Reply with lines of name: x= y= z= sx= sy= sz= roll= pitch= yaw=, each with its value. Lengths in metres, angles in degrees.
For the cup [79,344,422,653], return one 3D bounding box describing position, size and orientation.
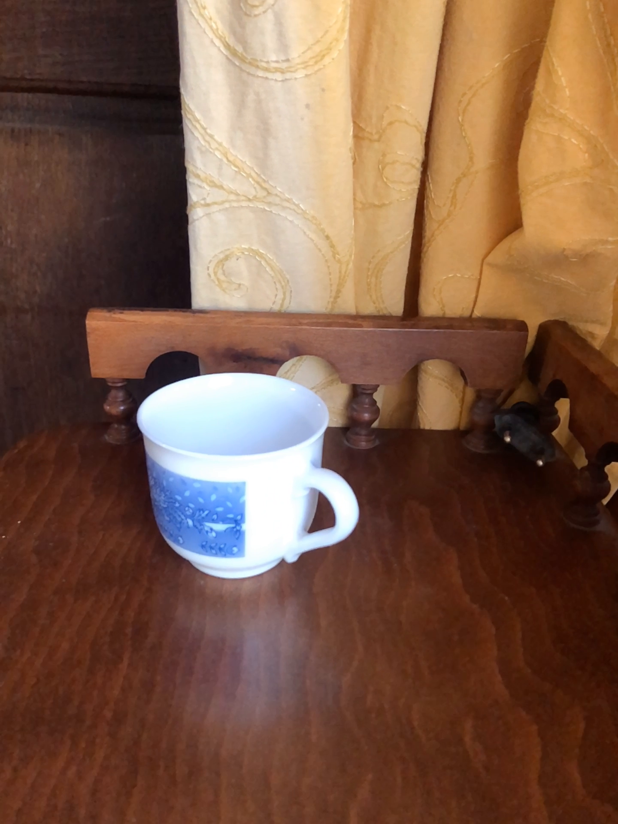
cup: x=-0.023 y=0.024 z=0.267 sx=0.100 sy=0.060 sz=0.080 roll=22 pitch=31 yaw=35
